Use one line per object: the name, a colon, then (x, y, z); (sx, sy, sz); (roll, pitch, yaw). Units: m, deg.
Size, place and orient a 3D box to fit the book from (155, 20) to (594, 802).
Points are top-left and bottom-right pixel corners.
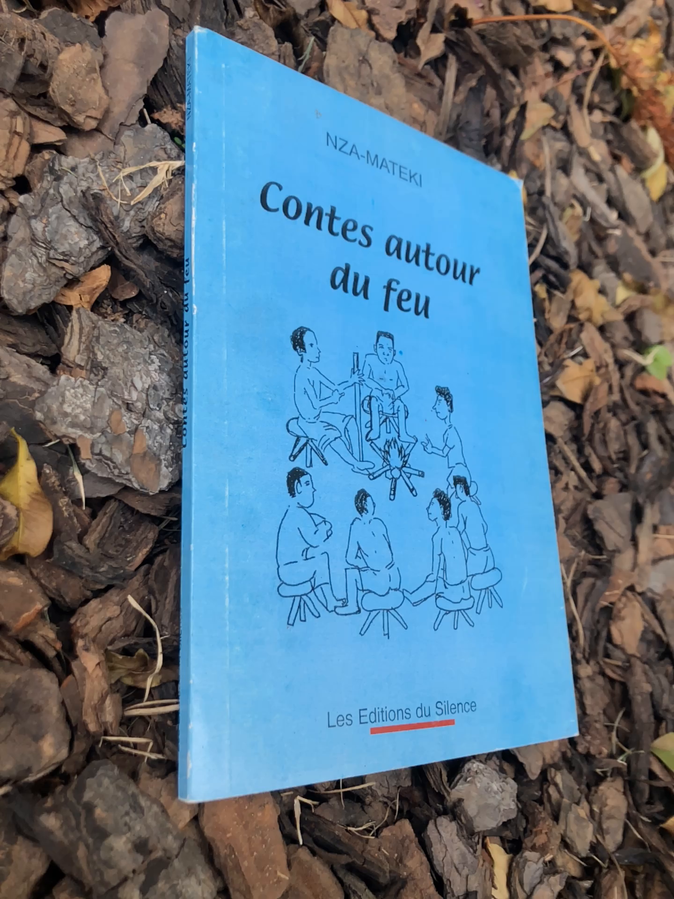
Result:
book: (0.018, -0.012, 0.234); (0.144, 0.015, 0.202); (9, 72, -36)
